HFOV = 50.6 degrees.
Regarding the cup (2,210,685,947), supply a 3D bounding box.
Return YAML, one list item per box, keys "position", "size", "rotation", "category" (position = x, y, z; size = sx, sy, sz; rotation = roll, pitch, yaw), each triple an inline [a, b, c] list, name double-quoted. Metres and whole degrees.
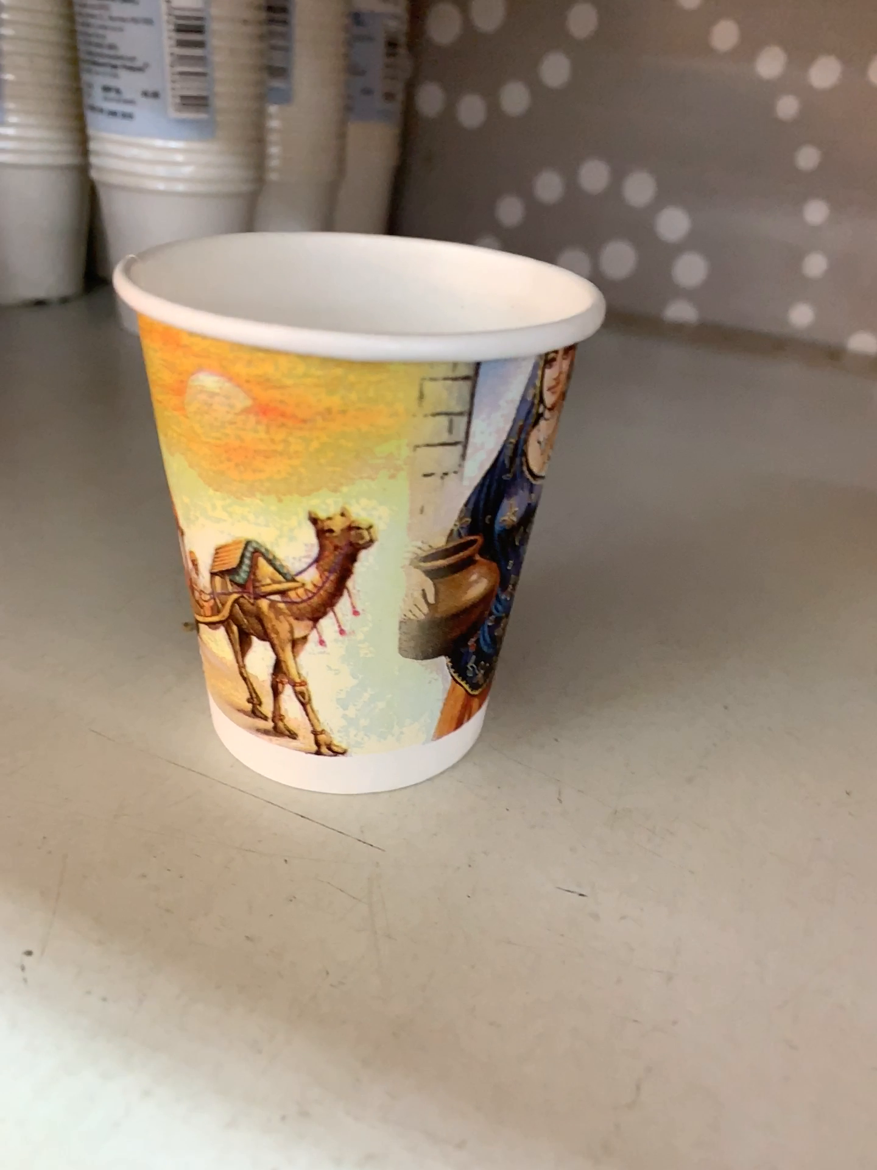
- position: [-0.009, -0.009, 0.147]
  size: [0.070, 0.079, 0.070]
  rotation: [4, 29, -2]
  category: "cup"
